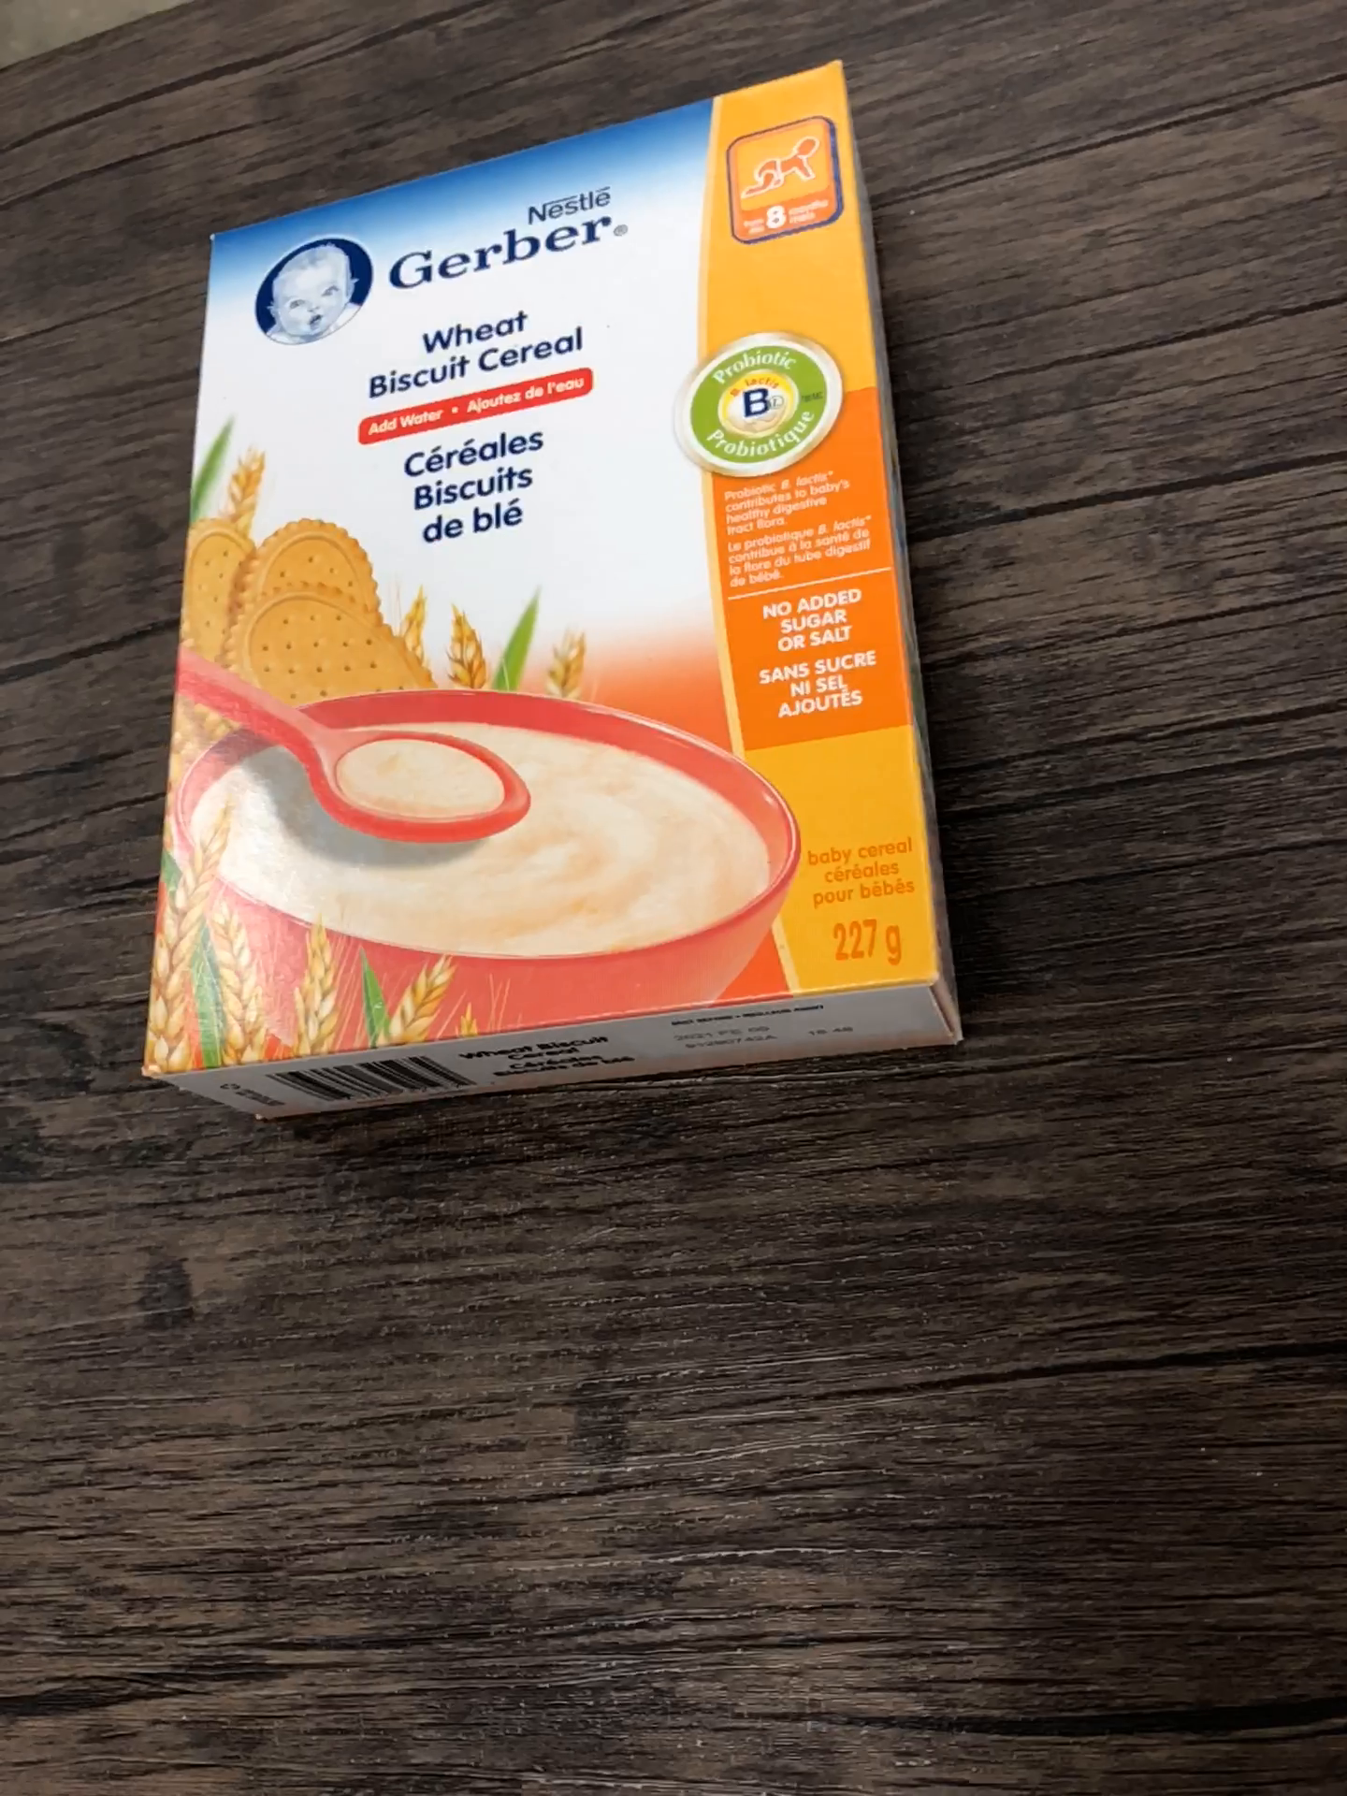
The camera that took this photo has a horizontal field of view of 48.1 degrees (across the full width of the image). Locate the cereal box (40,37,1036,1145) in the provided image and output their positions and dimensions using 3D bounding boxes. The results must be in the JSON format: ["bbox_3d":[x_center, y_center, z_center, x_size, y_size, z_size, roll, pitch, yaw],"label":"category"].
[{"bbox_3d":[-0.027,-0.054,0.280,0.160,0.040,0.180,-8,69,15],"label":"cereal box"}]
